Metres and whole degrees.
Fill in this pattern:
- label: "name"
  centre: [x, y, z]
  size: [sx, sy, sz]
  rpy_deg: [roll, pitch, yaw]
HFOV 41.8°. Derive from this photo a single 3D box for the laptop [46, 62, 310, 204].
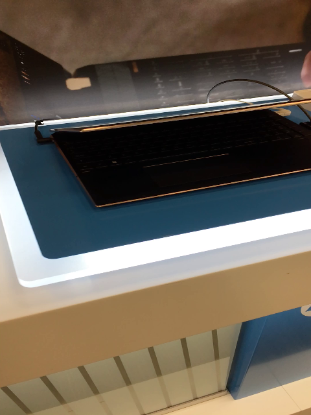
- label: "laptop"
  centre: [0.066, -0.130, 0.611]
  size: [0.386, 0.090, 0.221]
  rpy_deg: [-11, 38, -16]
